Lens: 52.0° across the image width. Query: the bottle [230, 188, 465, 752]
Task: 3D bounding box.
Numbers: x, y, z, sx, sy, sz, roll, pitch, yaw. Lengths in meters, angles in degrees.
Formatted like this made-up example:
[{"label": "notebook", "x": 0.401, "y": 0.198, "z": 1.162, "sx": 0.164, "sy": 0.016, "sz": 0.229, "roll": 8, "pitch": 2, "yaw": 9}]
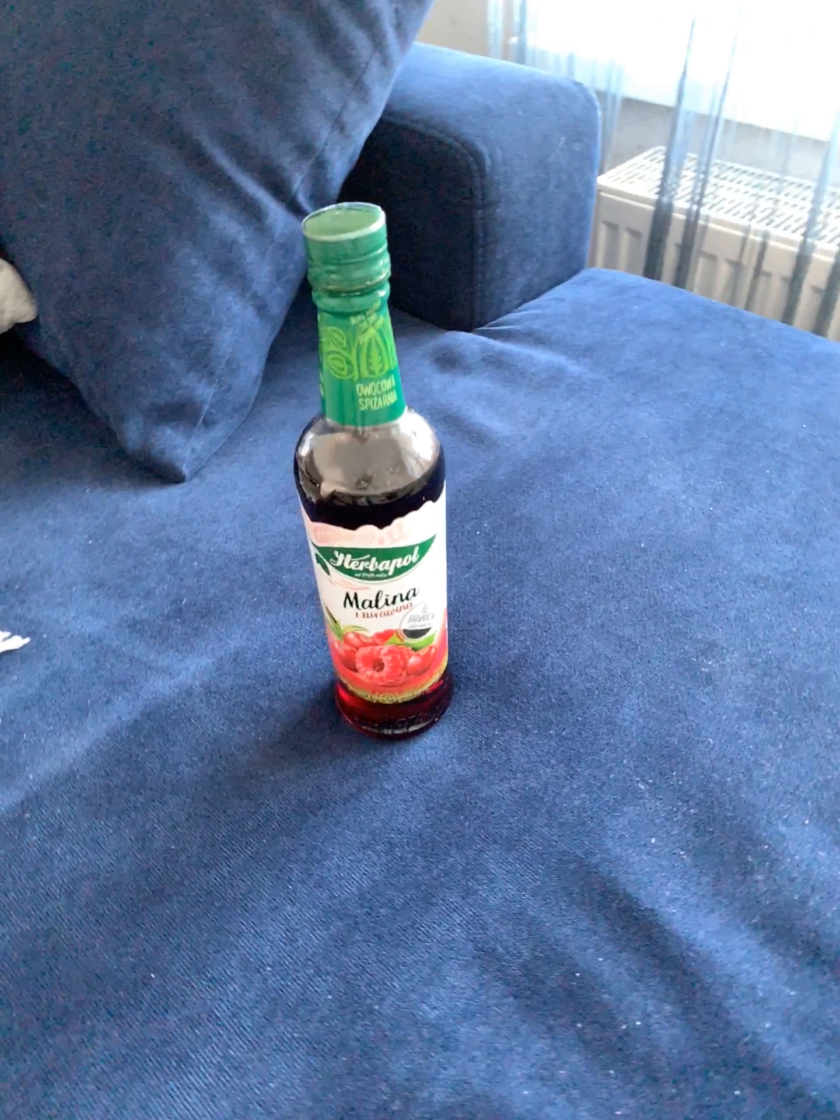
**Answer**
[{"label": "bottle", "x": -0.016, "y": -0.019, "z": 0.371, "sx": 0.070, "sy": 0.249, "sz": 0.070, "roll": -2, "pitch": 44, "yaw": 1}]
